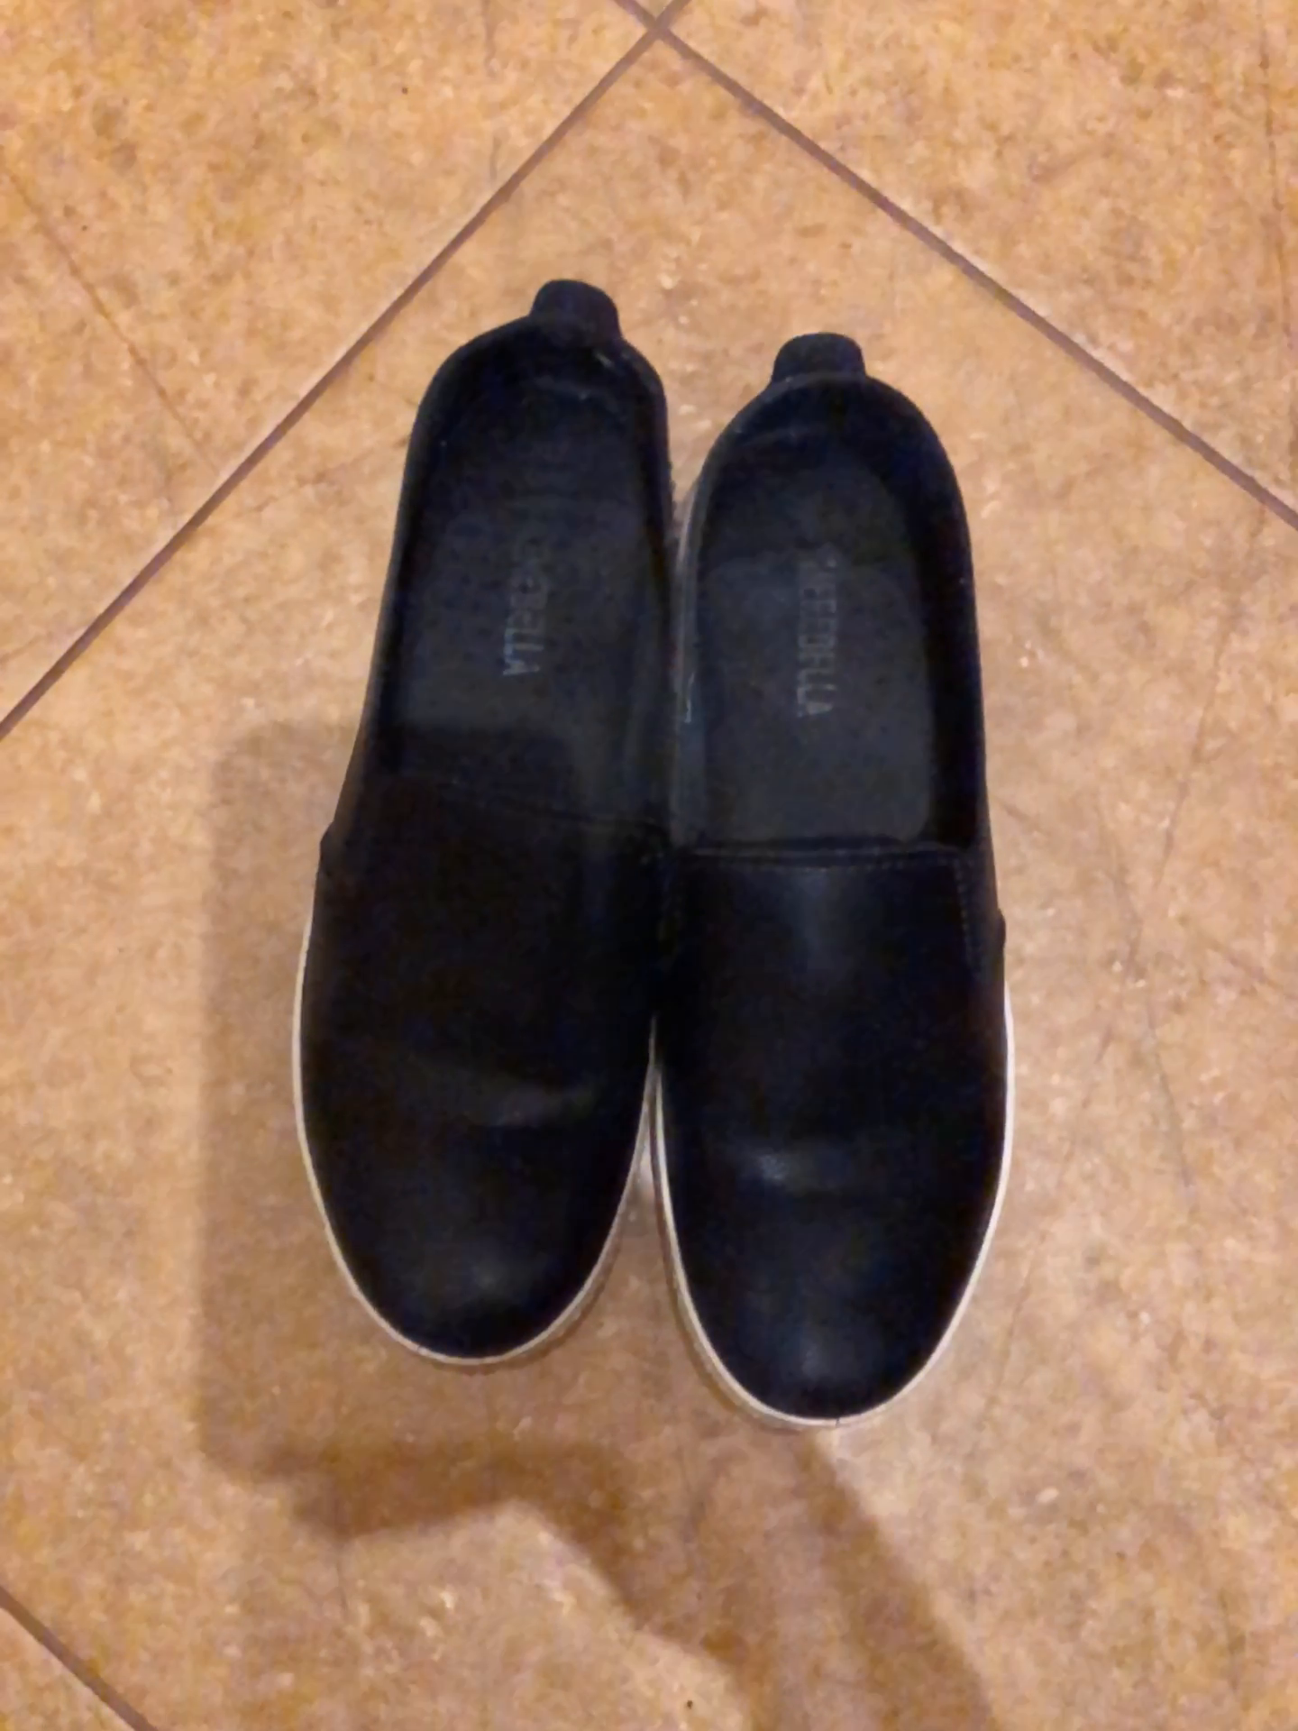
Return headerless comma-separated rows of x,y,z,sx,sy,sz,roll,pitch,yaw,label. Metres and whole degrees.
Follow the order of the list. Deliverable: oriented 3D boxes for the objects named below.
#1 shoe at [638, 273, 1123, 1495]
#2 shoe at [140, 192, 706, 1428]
0.044,0.002,0.316,0.090,0.070,0.240,1,83,0,shoe
-0.042,-0.013,0.317,0.090,0.070,0.240,4,83,0,shoe
